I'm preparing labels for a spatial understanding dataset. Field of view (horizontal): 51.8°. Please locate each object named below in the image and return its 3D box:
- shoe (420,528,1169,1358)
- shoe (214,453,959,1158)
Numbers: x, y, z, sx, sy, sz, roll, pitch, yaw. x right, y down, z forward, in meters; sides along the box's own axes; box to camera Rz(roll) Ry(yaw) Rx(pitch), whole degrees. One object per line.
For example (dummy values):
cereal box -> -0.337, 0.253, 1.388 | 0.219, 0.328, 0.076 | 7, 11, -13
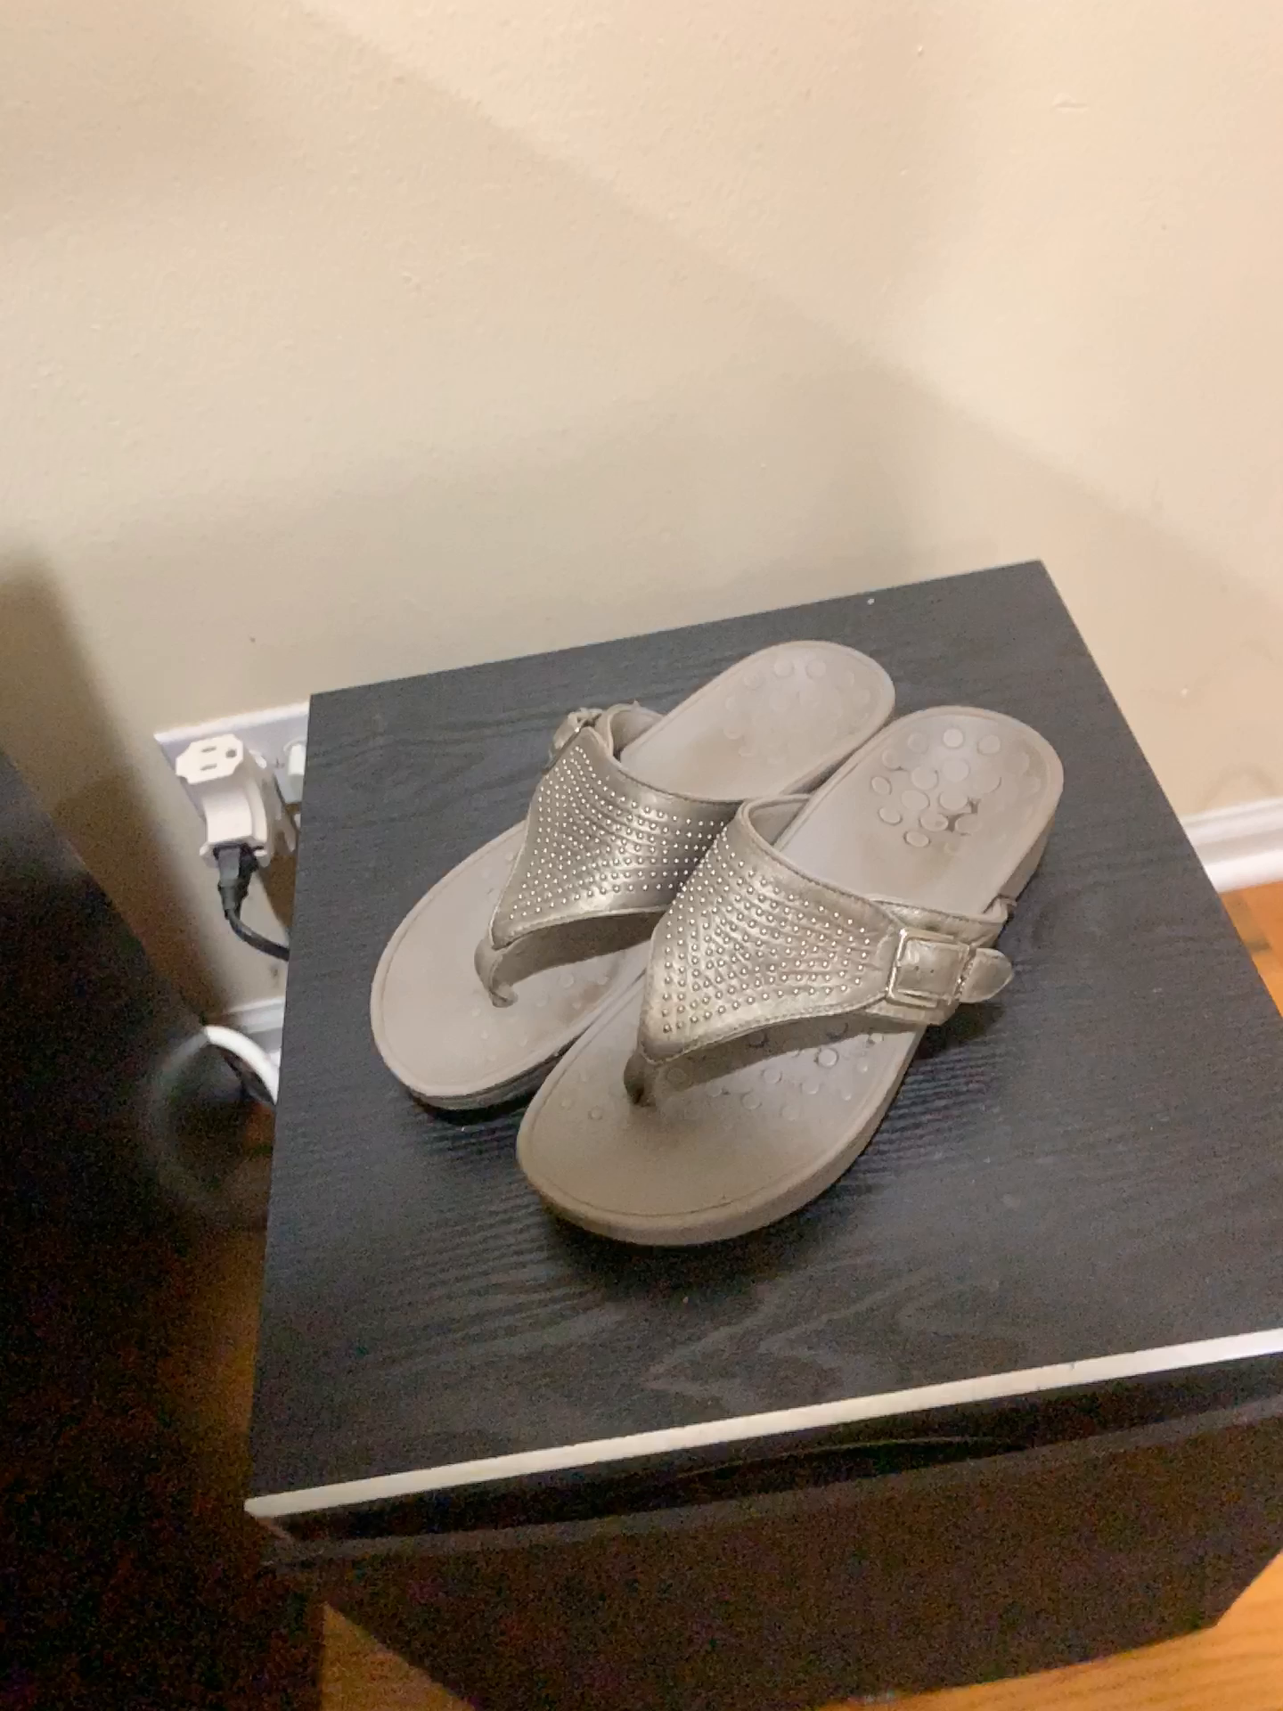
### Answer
shoe -> 0.060, 0.011, 0.422 | 0.108, 0.080, 0.249 | 25, 58, 27
shoe -> -0.007, -0.031, 0.468 | 0.108, 0.080, 0.248 | 32, 62, 31
